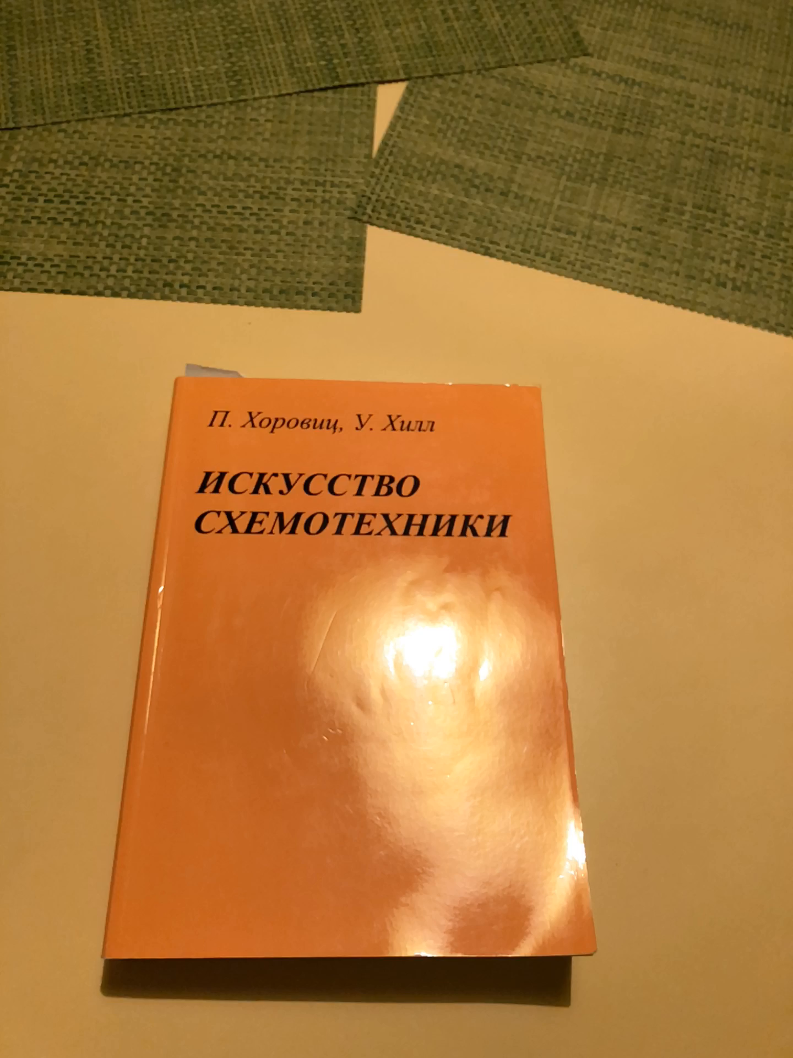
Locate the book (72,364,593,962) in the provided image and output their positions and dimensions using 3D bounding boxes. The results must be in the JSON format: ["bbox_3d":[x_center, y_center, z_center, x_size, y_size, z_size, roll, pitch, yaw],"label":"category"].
[{"bbox_3d":[-0.021,0.046,0.363,0.171,0.048,0.238,1,64,-3],"label":"book"}]
